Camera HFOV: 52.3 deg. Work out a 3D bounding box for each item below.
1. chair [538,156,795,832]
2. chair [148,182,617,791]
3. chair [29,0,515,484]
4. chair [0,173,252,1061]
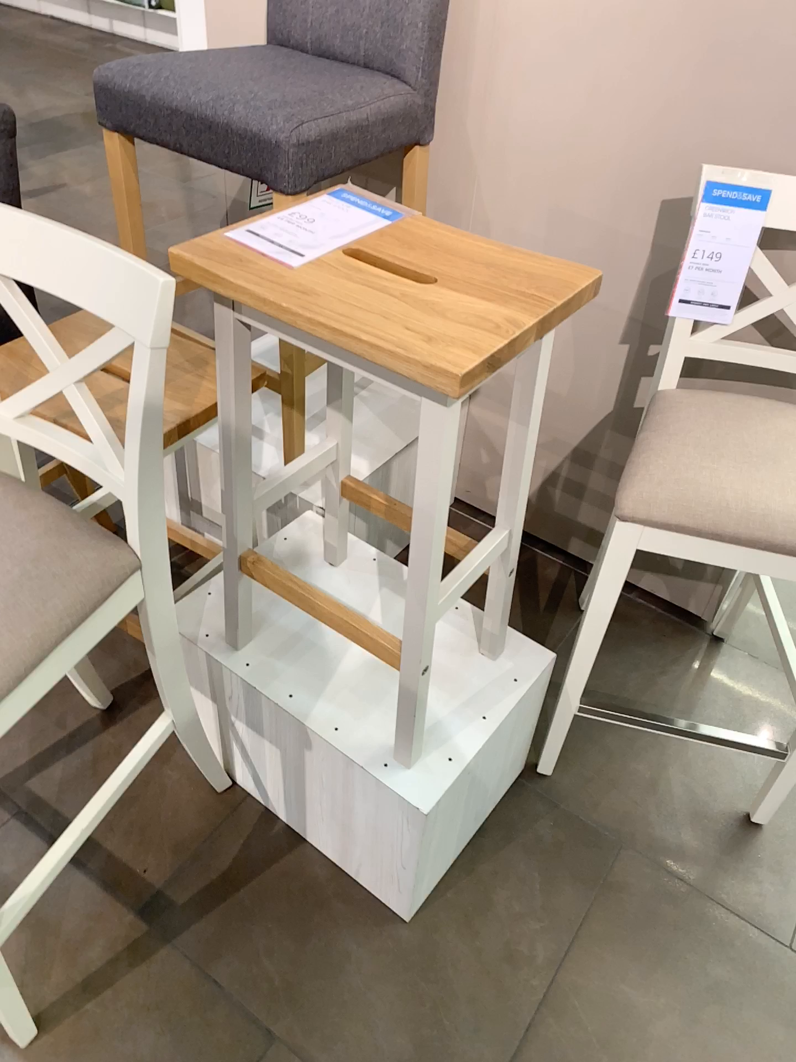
[{"bbox_3d":[0.550,-0.025,1.352,0.417,0.944,0.516,11,41,7],"label":"chair"},{"bbox_3d":[-0.033,-0.052,1.087,0.398,0.637,0.323,28,46,24],"label":"chair"},{"bbox_3d":[-0.195,-0.696,1.503,0.468,0.984,0.535,27,45,24],"label":"chair"},{"bbox_3d":[-0.541,0.149,1.039,0.438,0.954,0.505,23,44,19],"label":"chair"}]
